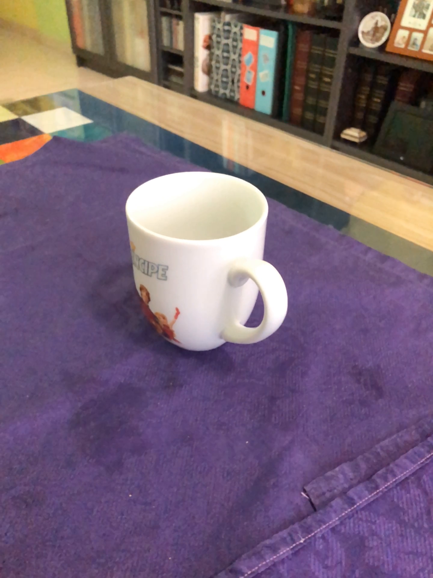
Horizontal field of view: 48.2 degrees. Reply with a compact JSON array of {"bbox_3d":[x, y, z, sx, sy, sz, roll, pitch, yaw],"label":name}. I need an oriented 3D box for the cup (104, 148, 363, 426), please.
[{"bbox_3d":[0.002,-0.010,0.279,0.080,0.090,0.120,-22,43,-26],"label":"cup"}]
